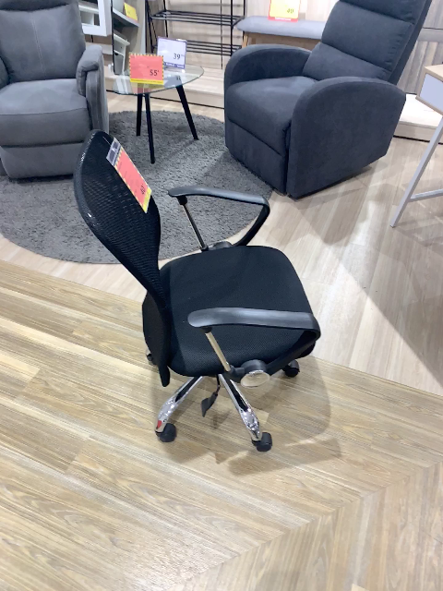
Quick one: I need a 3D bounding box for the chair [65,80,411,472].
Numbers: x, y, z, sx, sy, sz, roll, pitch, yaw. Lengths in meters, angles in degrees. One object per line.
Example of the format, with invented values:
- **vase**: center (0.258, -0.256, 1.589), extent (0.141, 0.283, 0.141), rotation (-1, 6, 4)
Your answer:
- **chair**: center (-0.002, -0.038, 1.304), extent (0.600, 0.866, 0.643), rotation (-6, 44, -5)
